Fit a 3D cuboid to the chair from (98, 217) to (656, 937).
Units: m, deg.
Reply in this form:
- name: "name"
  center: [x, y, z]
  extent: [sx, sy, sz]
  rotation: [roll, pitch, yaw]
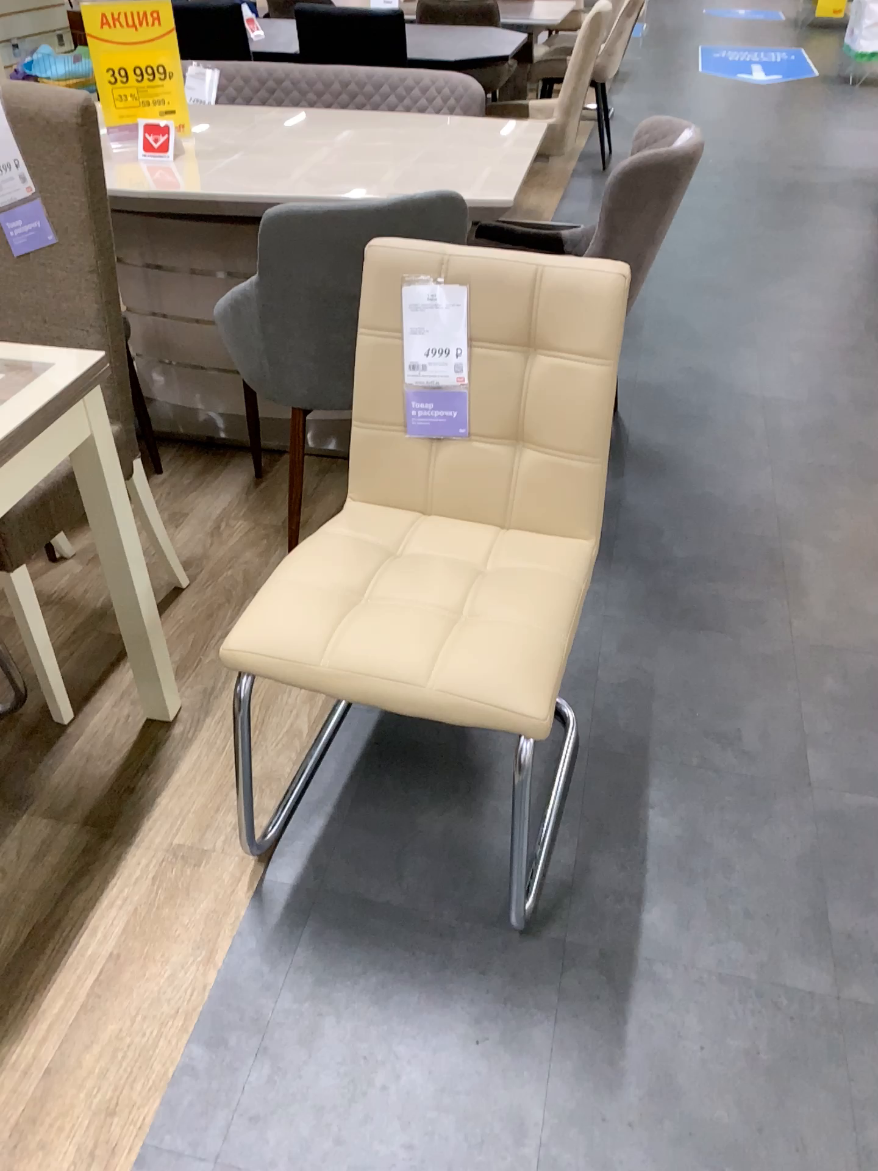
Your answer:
- name: "chair"
  center: [-0.015, -0.038, 1.391]
  extent: [0.530, 0.815, 0.654]
  rotation: [9, 38, 13]
